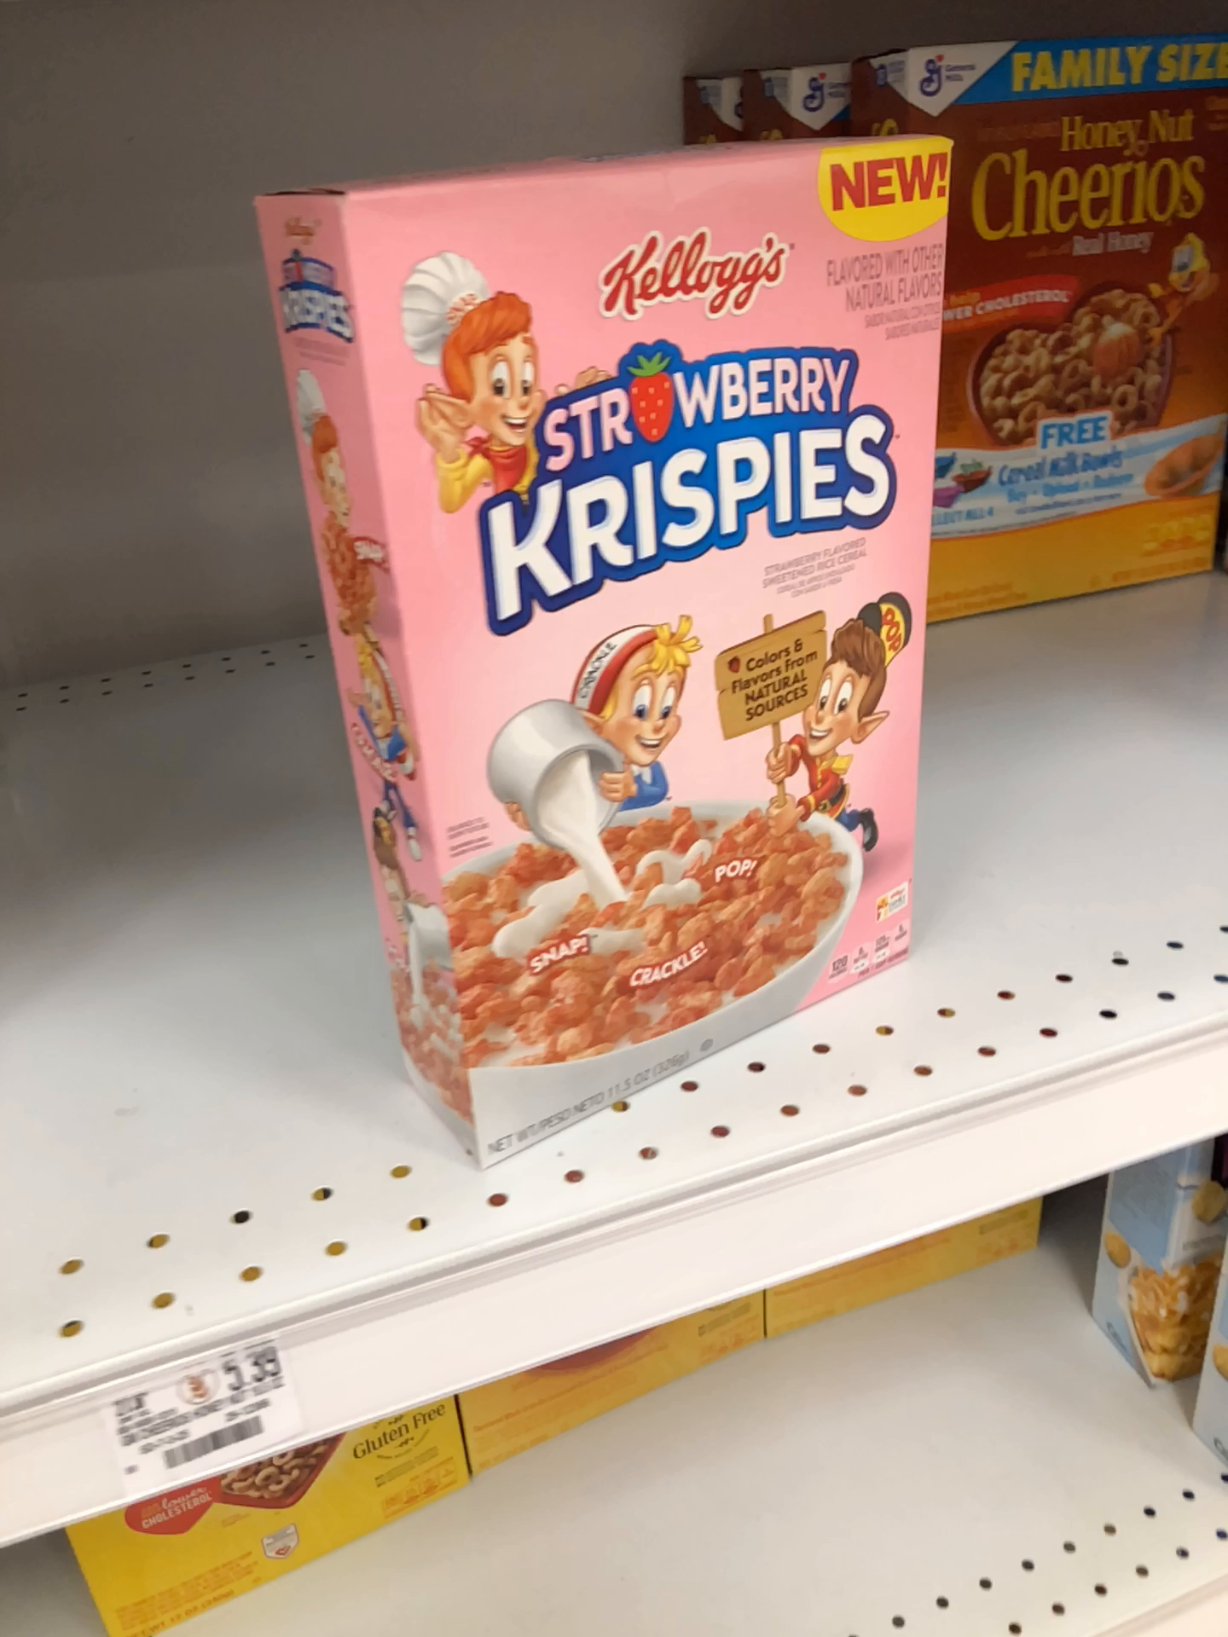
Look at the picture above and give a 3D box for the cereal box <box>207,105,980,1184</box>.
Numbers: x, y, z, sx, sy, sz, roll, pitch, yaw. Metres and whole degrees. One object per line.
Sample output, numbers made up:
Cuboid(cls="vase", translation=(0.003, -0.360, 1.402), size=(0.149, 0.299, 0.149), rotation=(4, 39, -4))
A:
Cuboid(cls="cereal box", translation=(0.009, -0.056, 0.431), size=(0.200, 0.289, 0.070), rotation=(-21, 34, -28))
